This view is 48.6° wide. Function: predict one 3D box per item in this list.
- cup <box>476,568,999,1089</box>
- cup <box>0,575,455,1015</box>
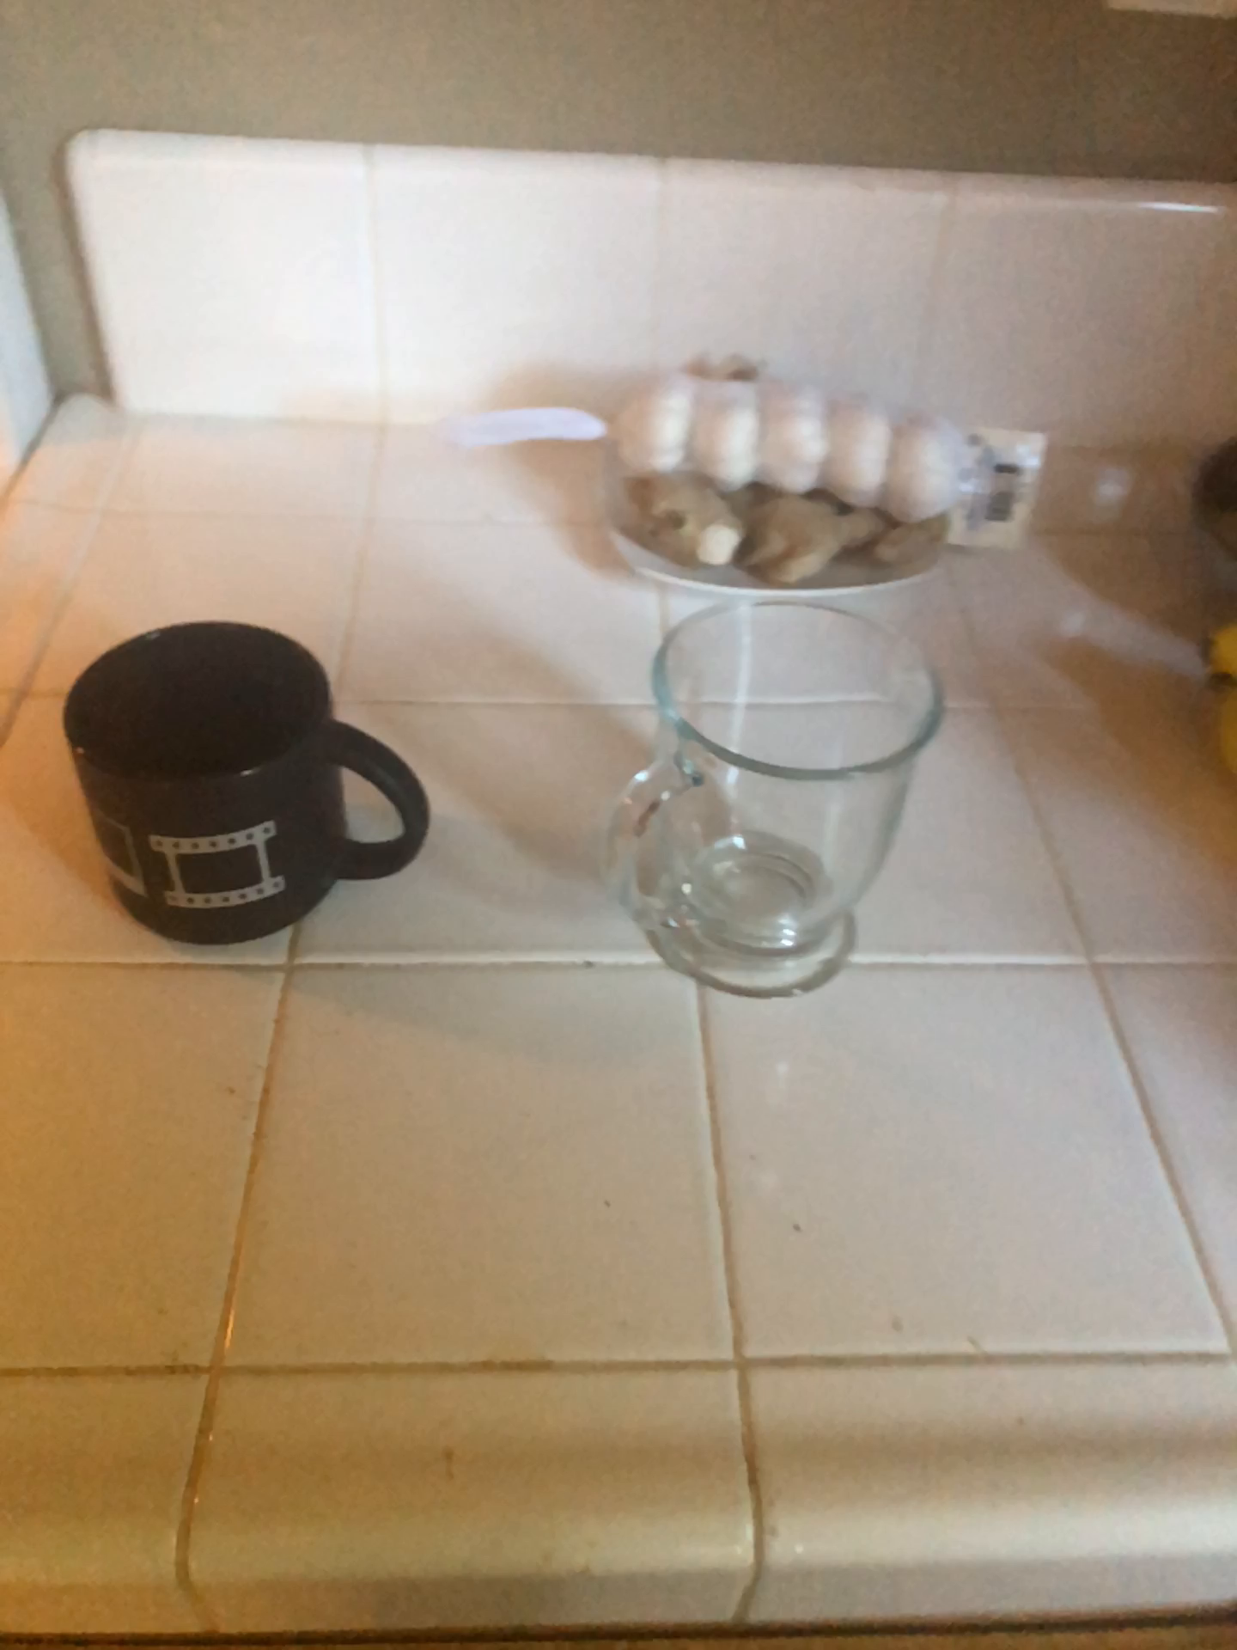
[{"bbox_3d":[0.035,-0.002,0.487,0.141,0.109,0.101,-20,49,-23],"label":"cup"},{"bbox_3d":[-0.138,-0.013,0.490,0.130,0.089,0.101,12,45,8],"label":"cup"}]
